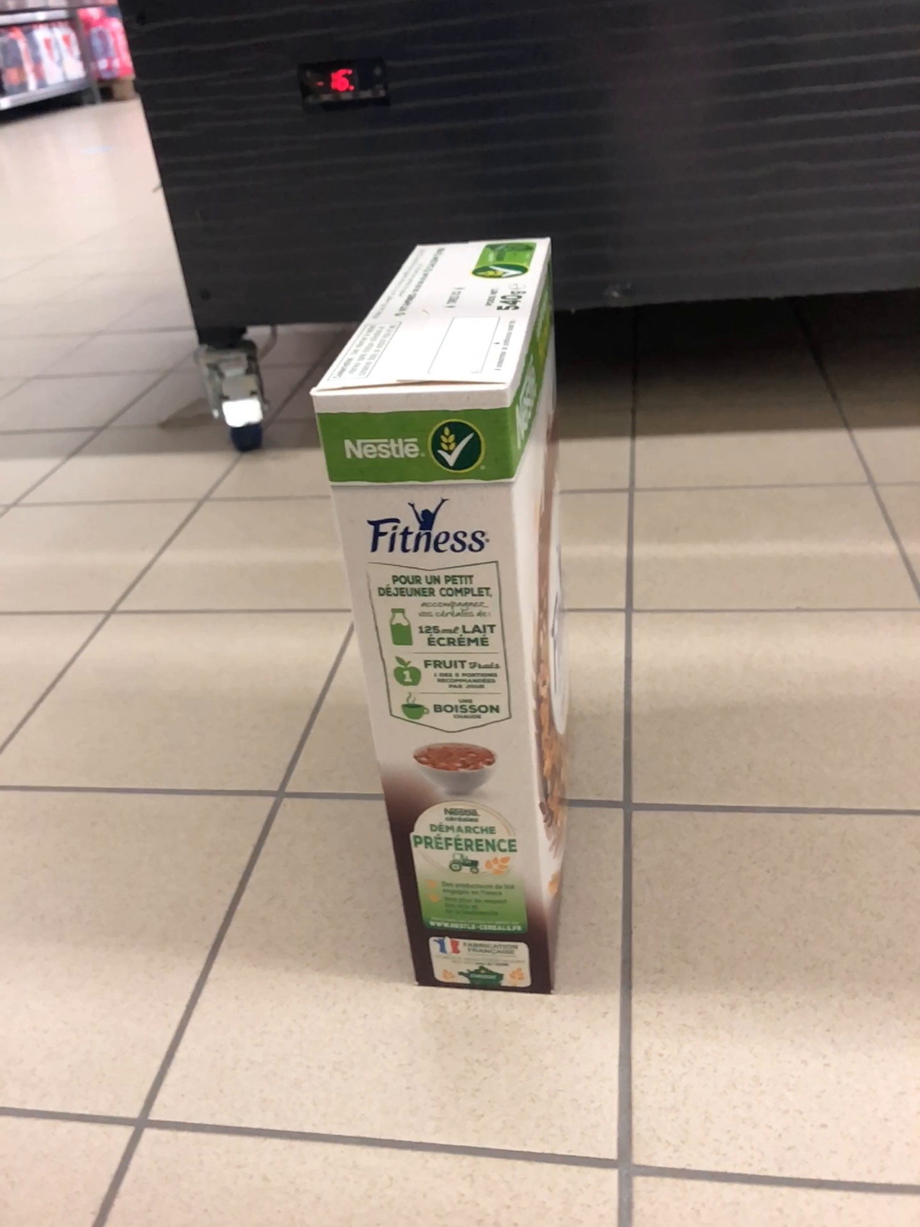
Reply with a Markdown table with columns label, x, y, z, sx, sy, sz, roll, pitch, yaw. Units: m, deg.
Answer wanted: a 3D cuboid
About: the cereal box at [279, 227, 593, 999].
| label | x | y | z | sx | sy | sz | roll | pitch | yaw |
| --- | --- | --- | --- | --- | --- | --- | --- | --- | --- |
| cereal box | 0.013 | -0.006 | 0.467 | 0.080 | 0.278 | 0.211 | -1 | 32 | 10 |
